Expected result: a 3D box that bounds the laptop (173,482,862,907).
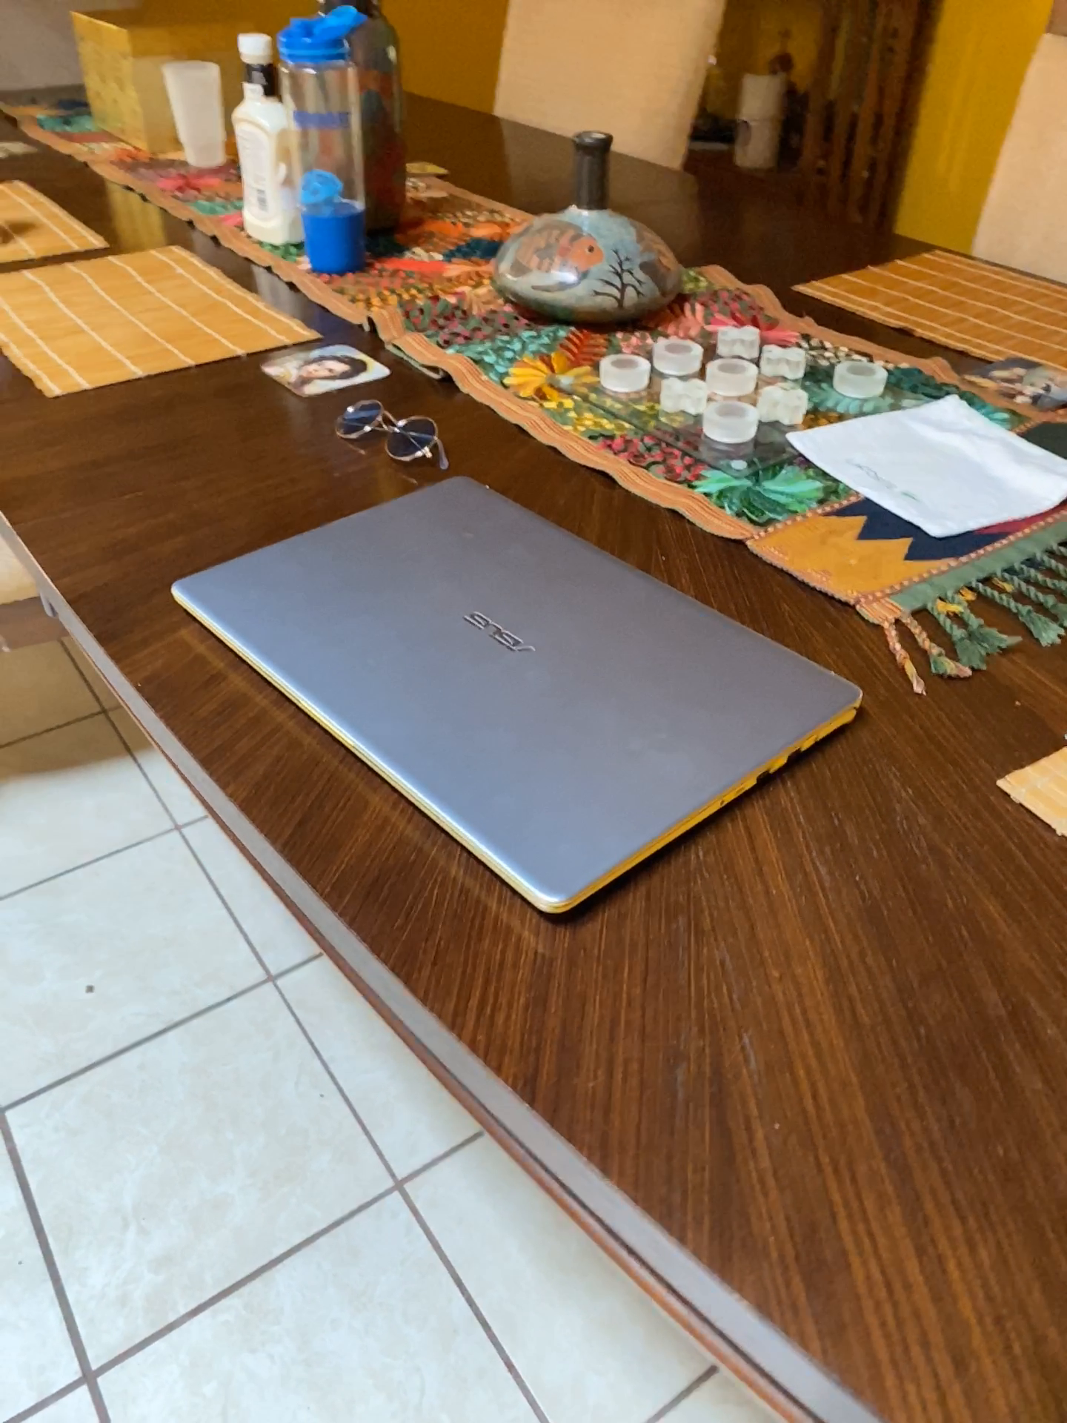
[{"bbox_3d":[-0.024,-0.045,0.701,0.247,0.001,0.384,-29,48,-32],"label":"laptop"}]
